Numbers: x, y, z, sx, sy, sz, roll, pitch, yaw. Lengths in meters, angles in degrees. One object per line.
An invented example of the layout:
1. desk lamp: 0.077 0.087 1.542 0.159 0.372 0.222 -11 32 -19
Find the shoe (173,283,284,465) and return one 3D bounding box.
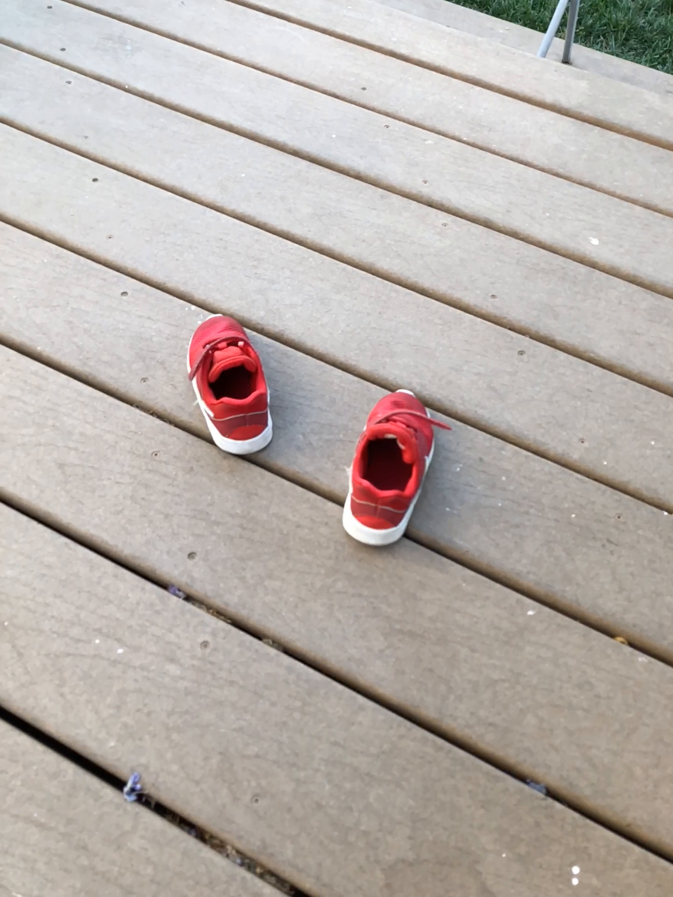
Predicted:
1. shoe: -0.103 -0.073 0.694 0.073 0.069 0.153 -11 58 -12

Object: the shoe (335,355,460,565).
1. shoe: 0.055 0.007 0.651 0.069 0.069 0.165 14 56 5
